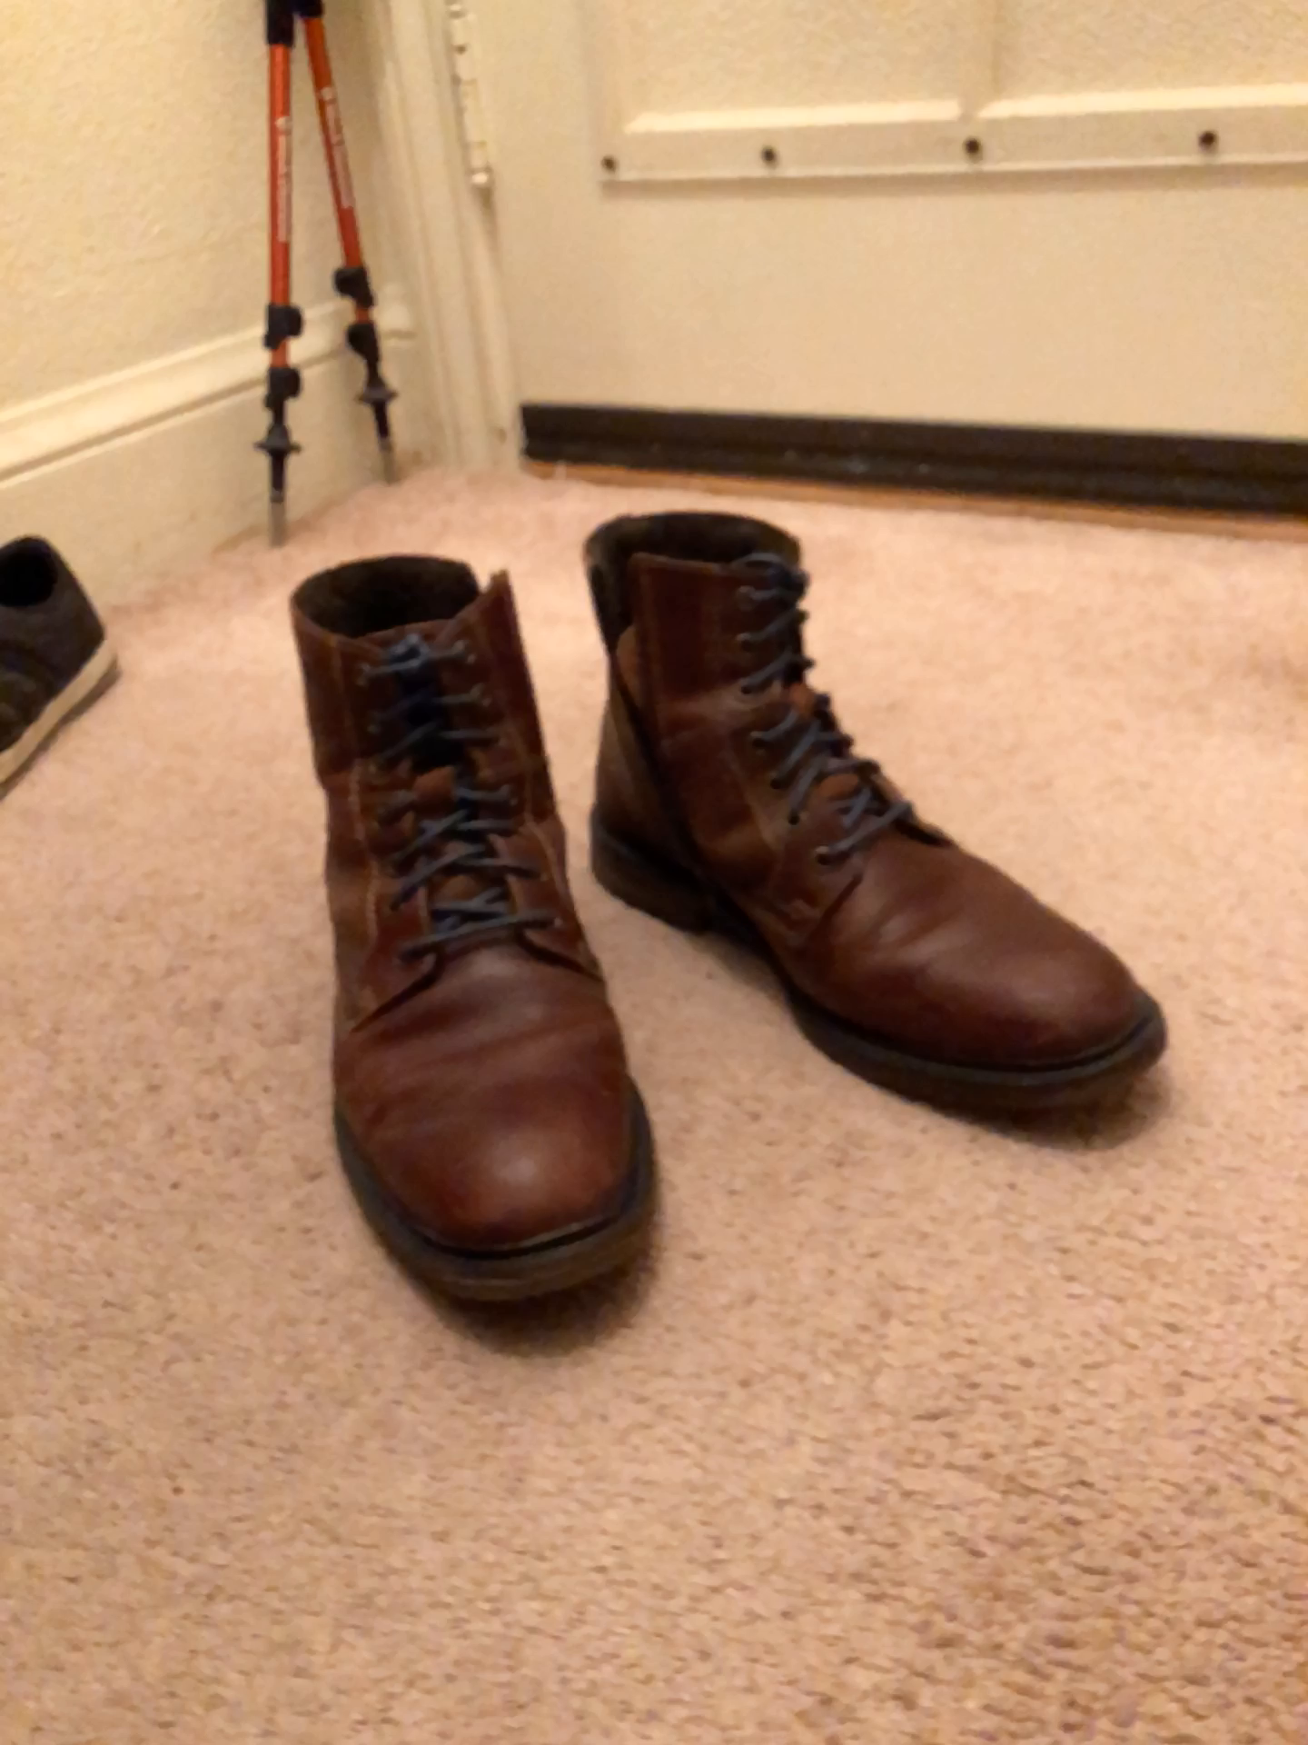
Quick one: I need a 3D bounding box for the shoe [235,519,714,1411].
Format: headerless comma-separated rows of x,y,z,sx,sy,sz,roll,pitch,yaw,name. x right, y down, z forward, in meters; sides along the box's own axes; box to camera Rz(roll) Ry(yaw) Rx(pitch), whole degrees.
-0.080,0.005,0.552,0.113,0.172,0.317,-12,32,-9,shoe

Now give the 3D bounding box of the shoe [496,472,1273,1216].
0.071,-0.034,0.587,0.110,0.172,0.302,-24,36,-27,shoe
